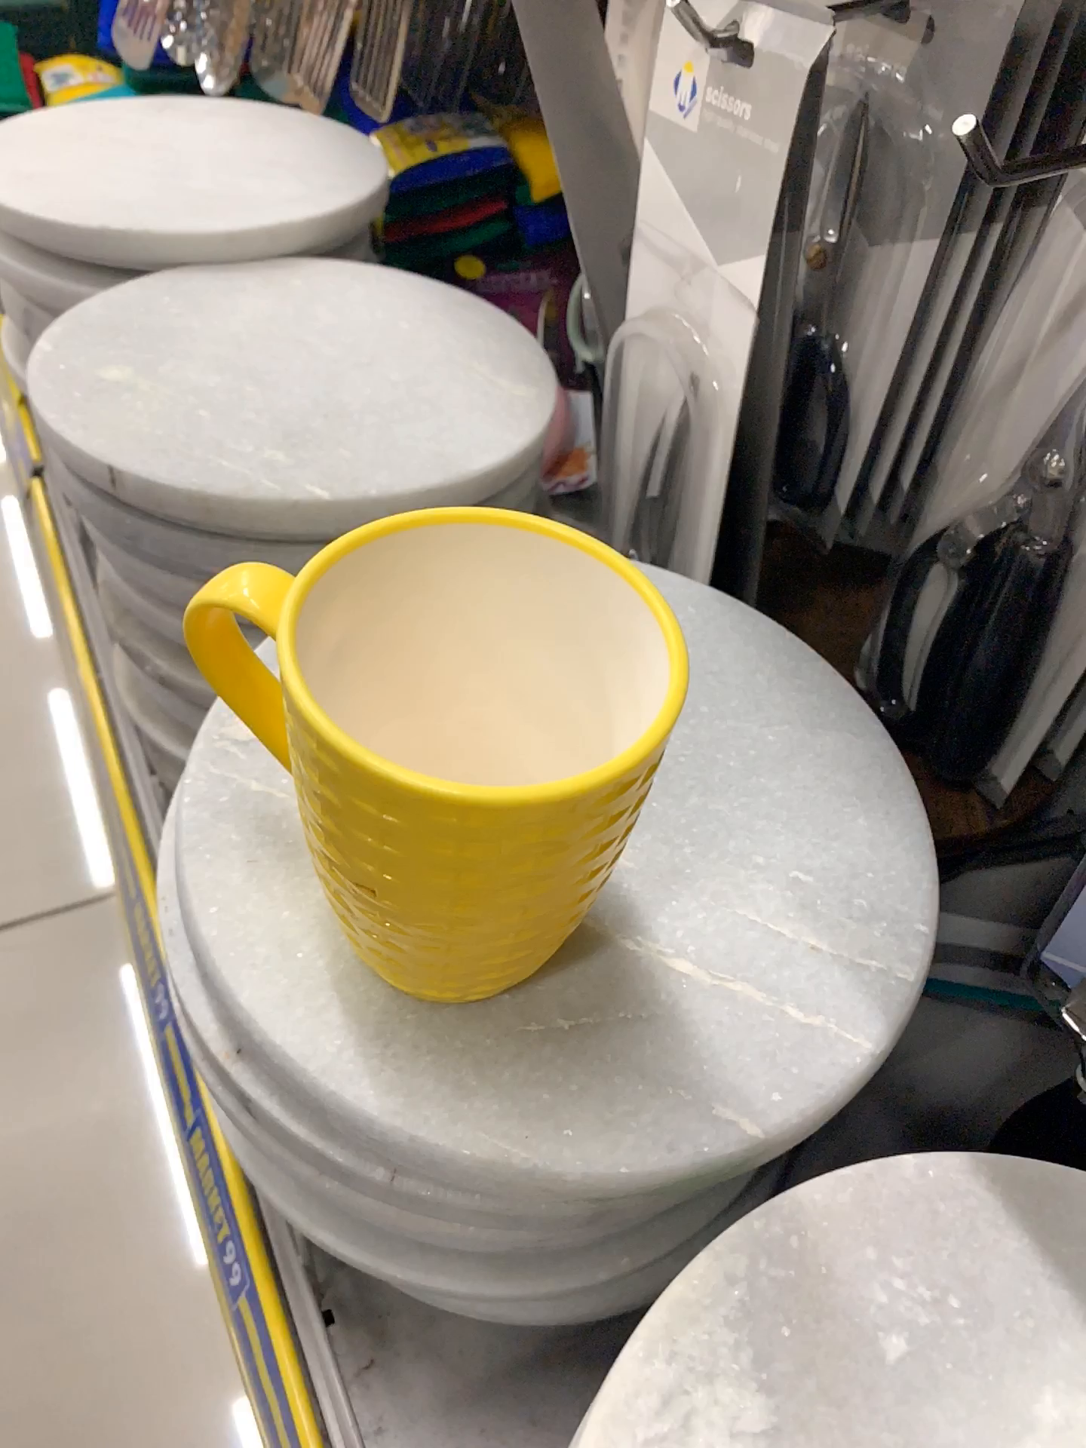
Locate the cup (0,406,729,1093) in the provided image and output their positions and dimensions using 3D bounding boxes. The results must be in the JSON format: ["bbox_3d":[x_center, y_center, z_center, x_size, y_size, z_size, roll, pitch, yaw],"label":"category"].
[{"bbox_3d":[-0.035,0.003,0.260,0.120,0.090,0.090,19,46,9],"label":"cup"}]
